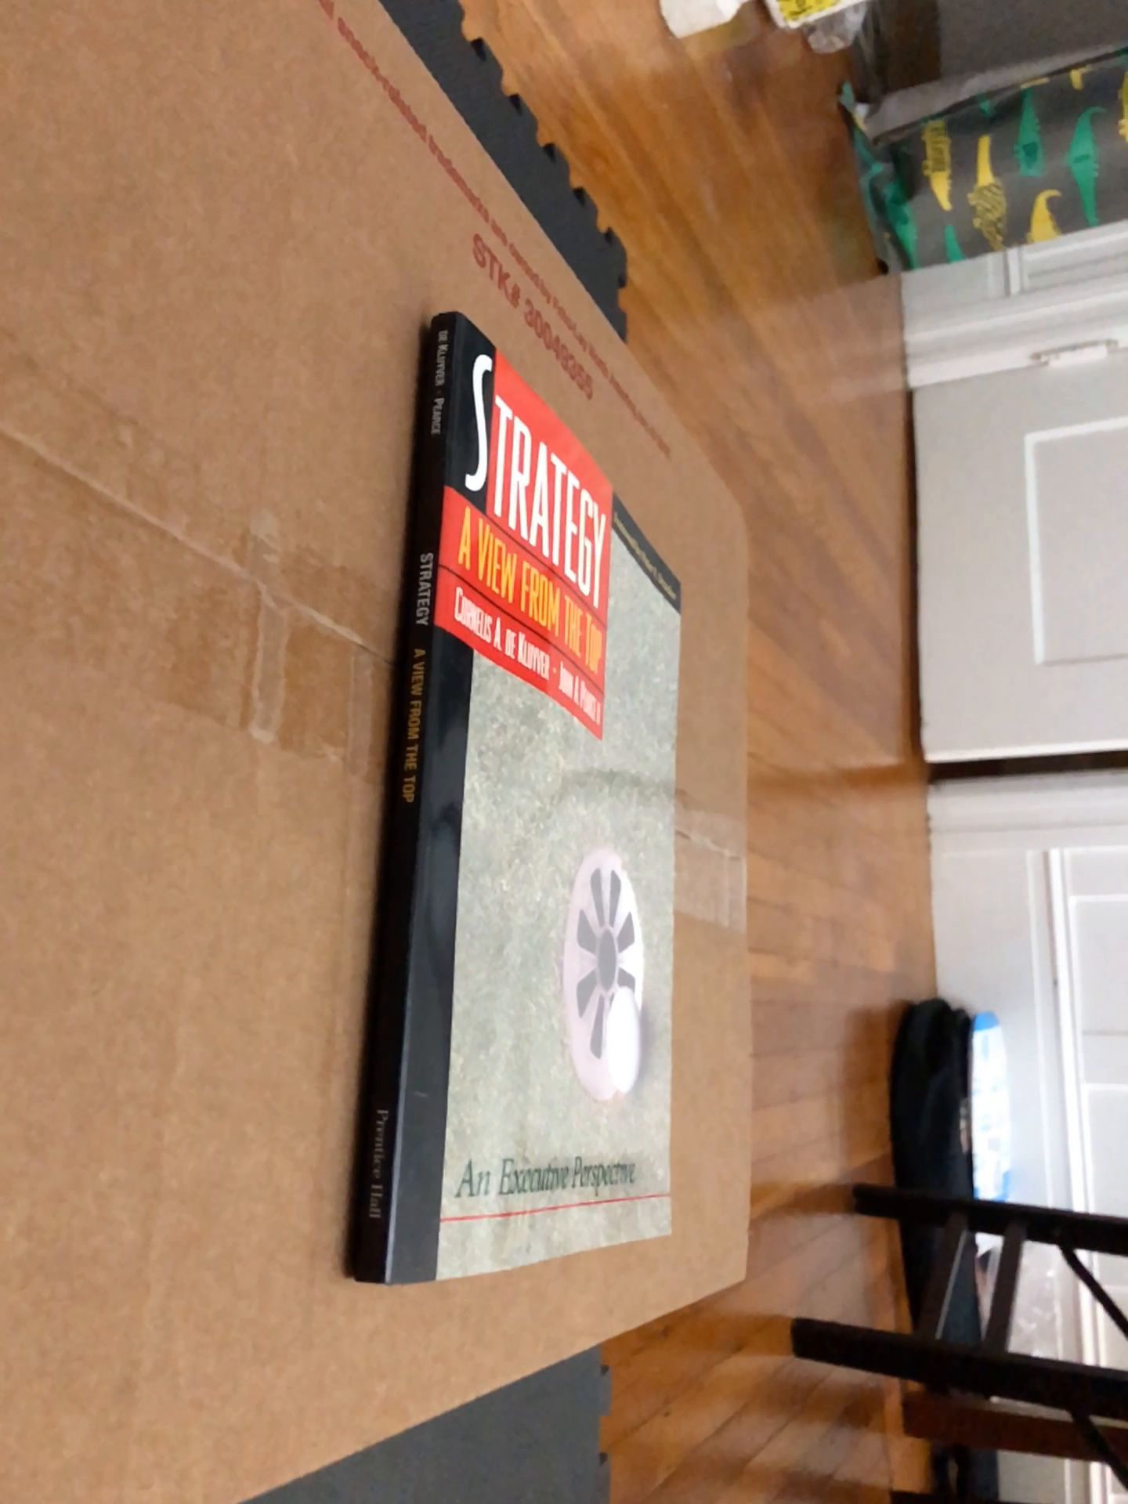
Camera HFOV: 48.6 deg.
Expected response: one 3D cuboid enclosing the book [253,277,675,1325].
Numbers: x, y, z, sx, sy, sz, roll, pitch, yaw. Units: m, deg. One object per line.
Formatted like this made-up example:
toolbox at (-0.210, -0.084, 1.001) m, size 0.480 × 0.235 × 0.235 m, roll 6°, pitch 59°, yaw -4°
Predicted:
book at (-0.010, 0.022, 0.359) m, size 0.181 × 0.020 × 0.240 m, roll 32°, pitch 56°, yaw -60°
